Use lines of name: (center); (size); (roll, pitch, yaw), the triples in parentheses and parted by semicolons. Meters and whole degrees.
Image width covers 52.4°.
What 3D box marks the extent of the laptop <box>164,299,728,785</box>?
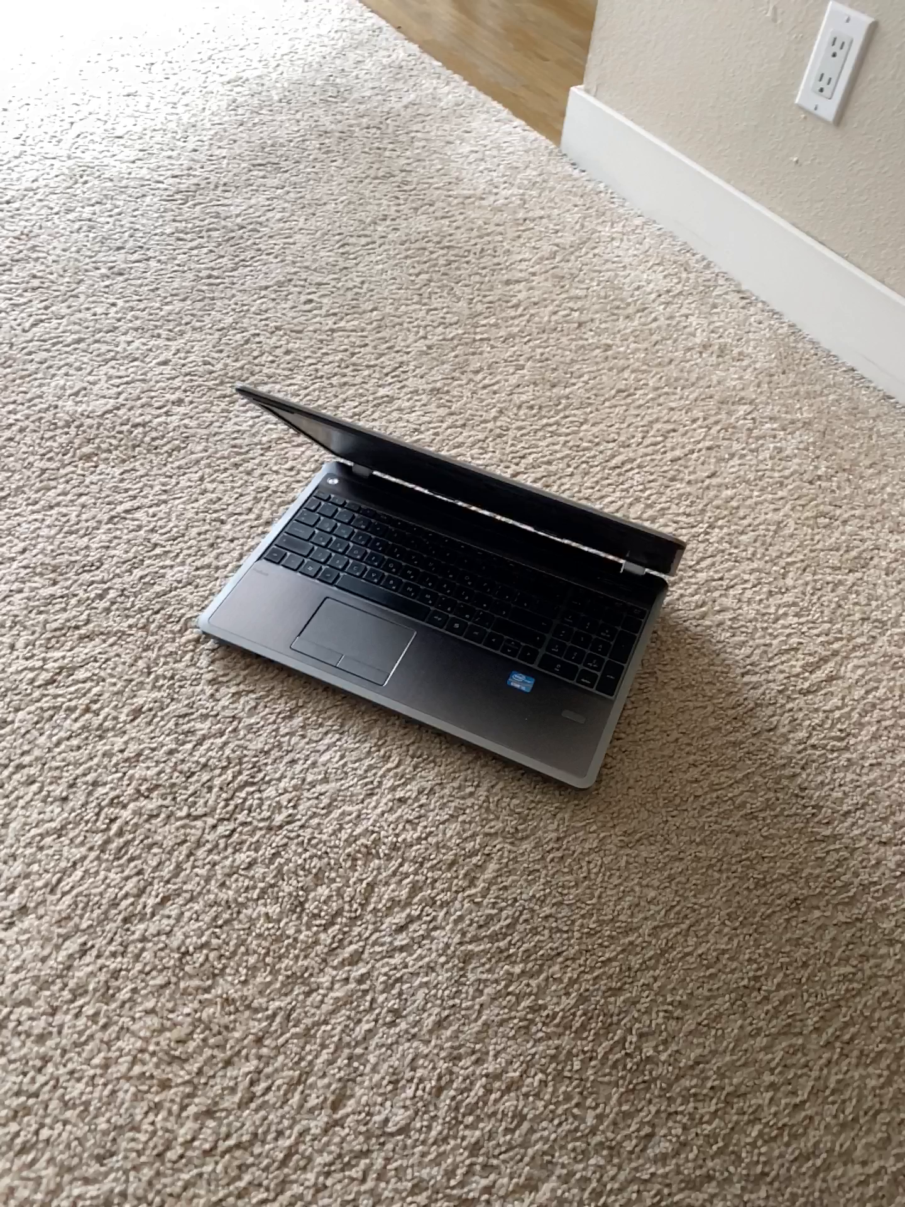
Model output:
laptop: (-0.001, -0.064, 0.785); (0.368, 0.186, 0.254); (21, 50, 11)
